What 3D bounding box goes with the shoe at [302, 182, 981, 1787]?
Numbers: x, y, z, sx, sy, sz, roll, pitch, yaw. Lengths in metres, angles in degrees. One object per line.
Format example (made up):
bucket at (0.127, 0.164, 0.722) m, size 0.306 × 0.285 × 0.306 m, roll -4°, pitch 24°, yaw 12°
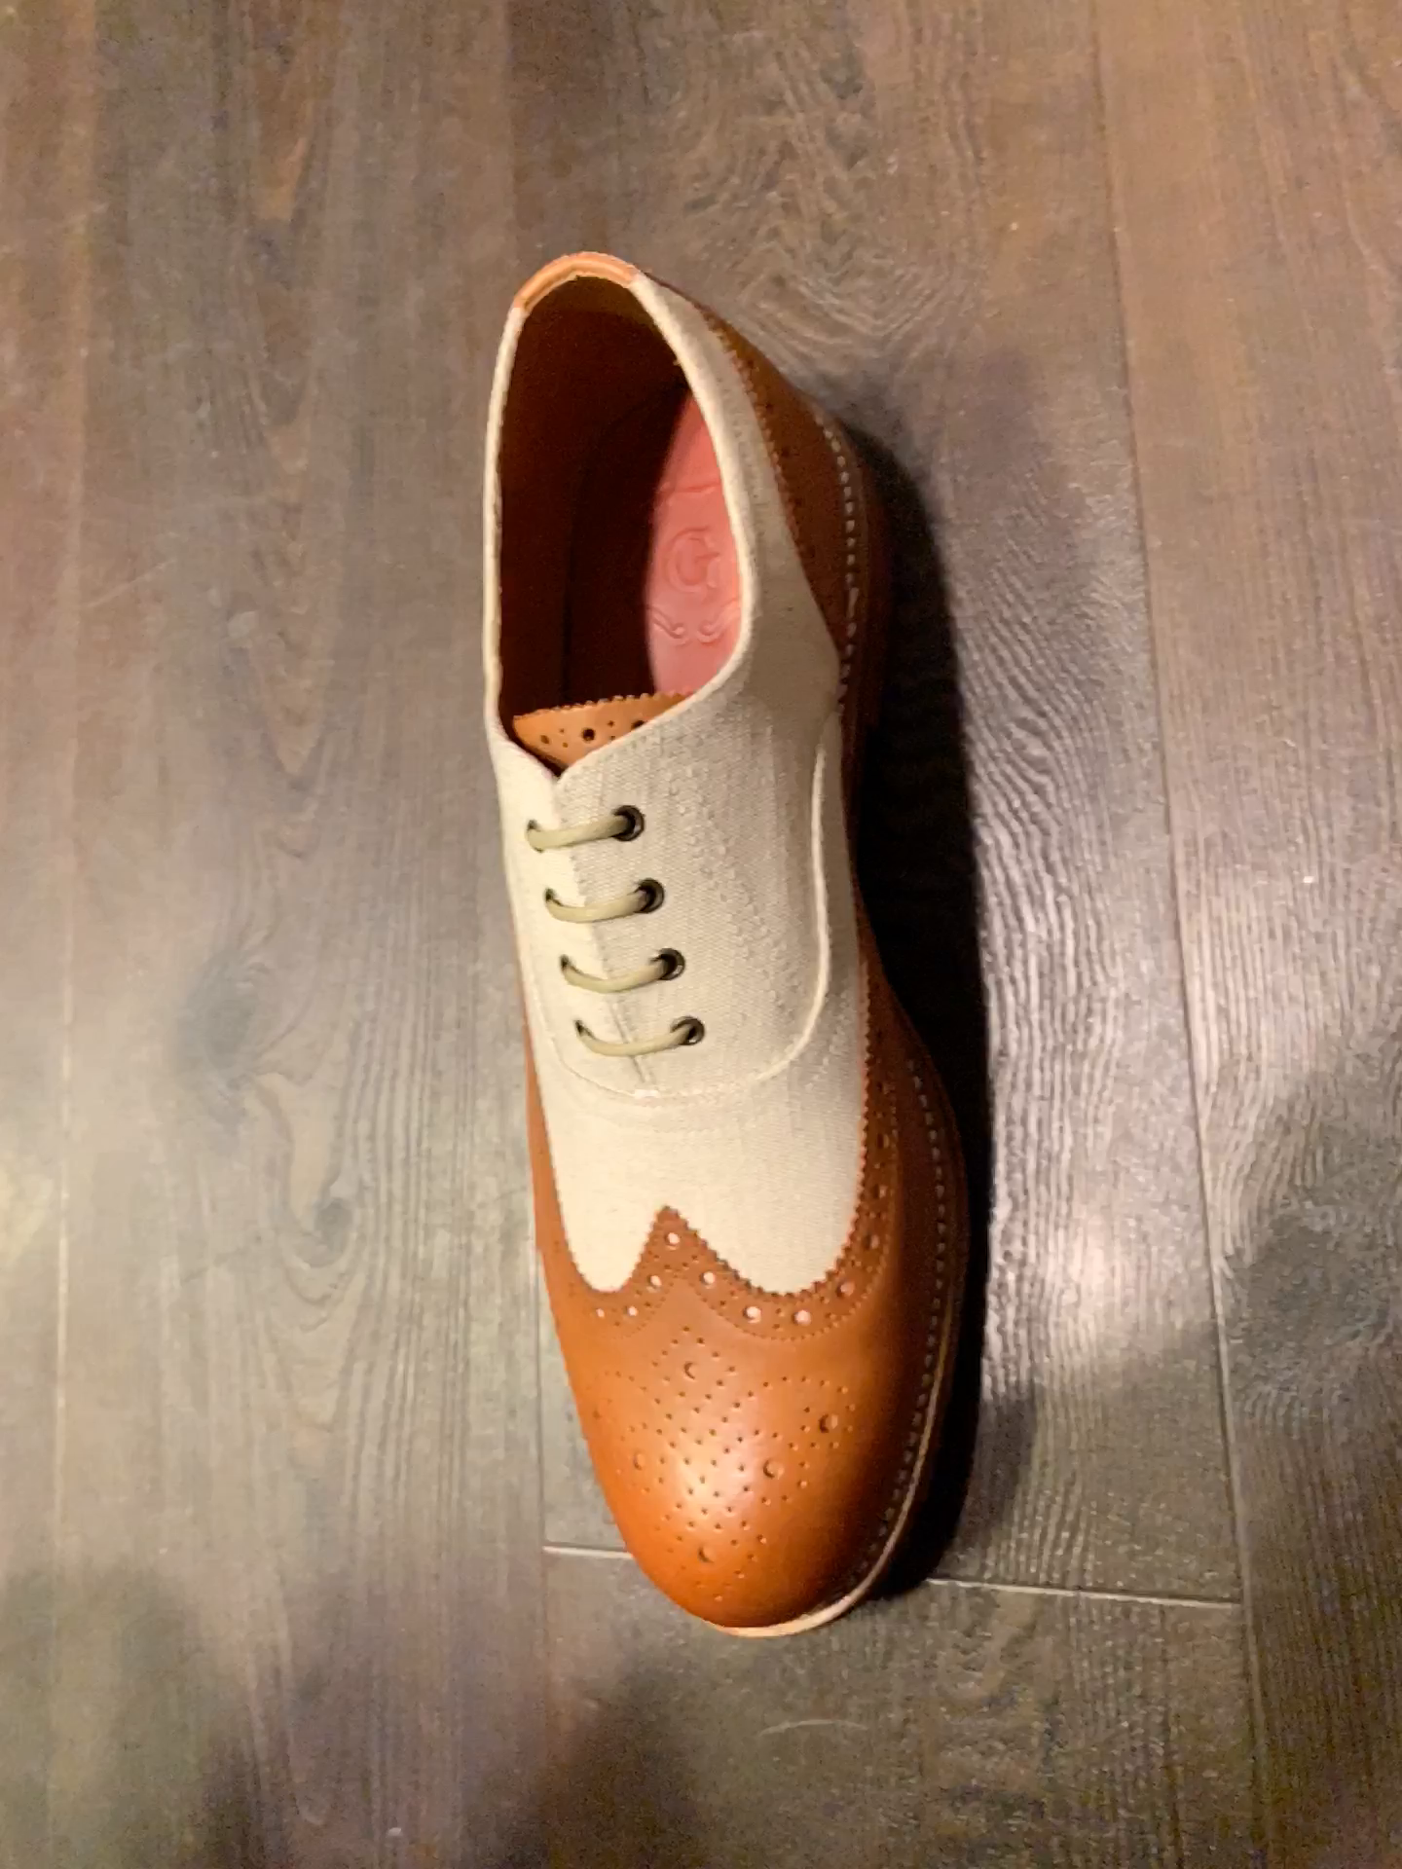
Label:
shoe at (-0.007, 0.008, 0.345) m, size 0.110 × 0.120 × 0.300 m, roll -4°, pitch 81°, yaw 24°
